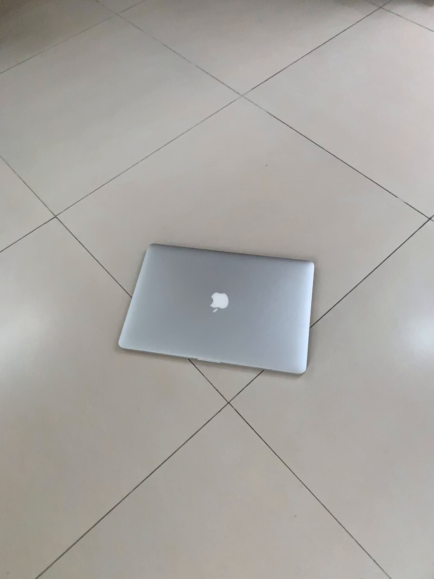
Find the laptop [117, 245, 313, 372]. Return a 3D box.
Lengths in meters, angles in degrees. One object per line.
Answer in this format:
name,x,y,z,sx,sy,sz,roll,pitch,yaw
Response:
laptop,0.003,0.027,0.884,0.356,0.001,0.240,7,61,8
